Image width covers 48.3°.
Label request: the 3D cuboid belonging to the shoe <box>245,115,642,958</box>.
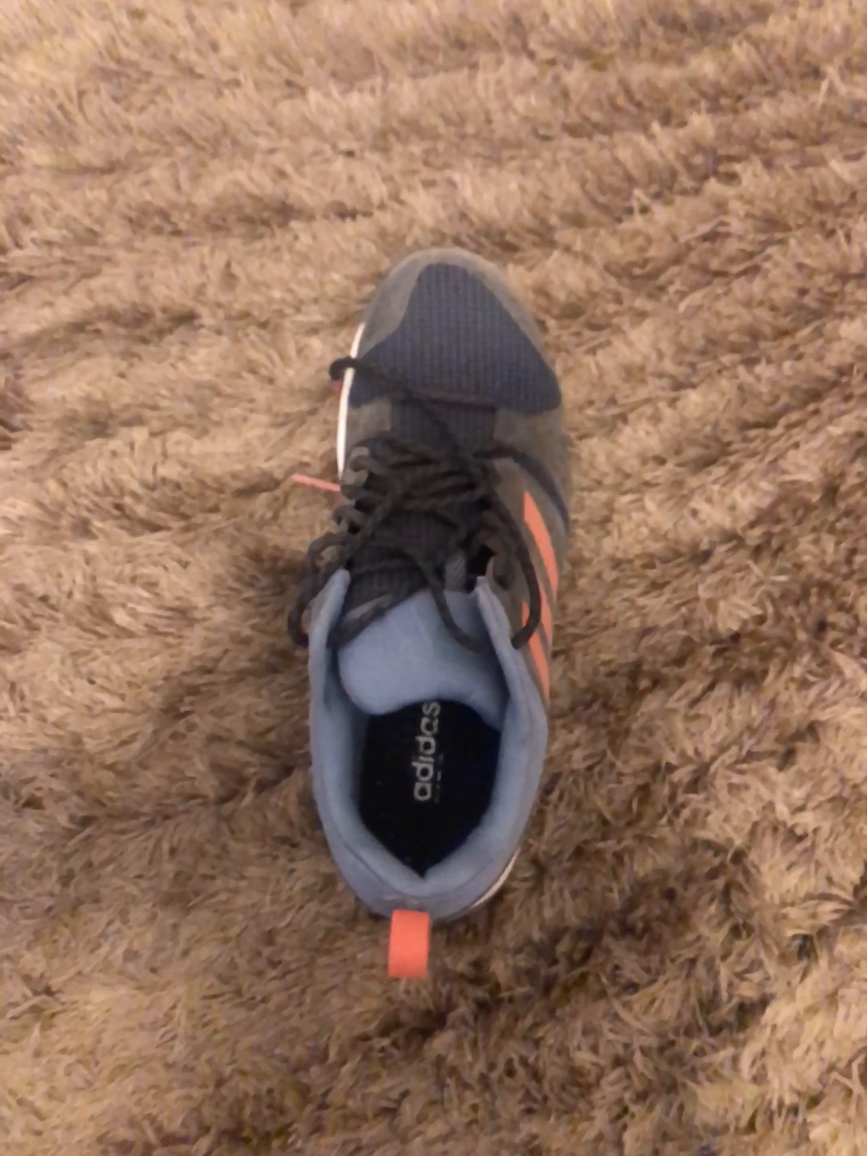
[{"bbox_3d":[0.007,-0.015,0.373,0.113,0.110,0.275,4,83,1],"label":"shoe"}]
